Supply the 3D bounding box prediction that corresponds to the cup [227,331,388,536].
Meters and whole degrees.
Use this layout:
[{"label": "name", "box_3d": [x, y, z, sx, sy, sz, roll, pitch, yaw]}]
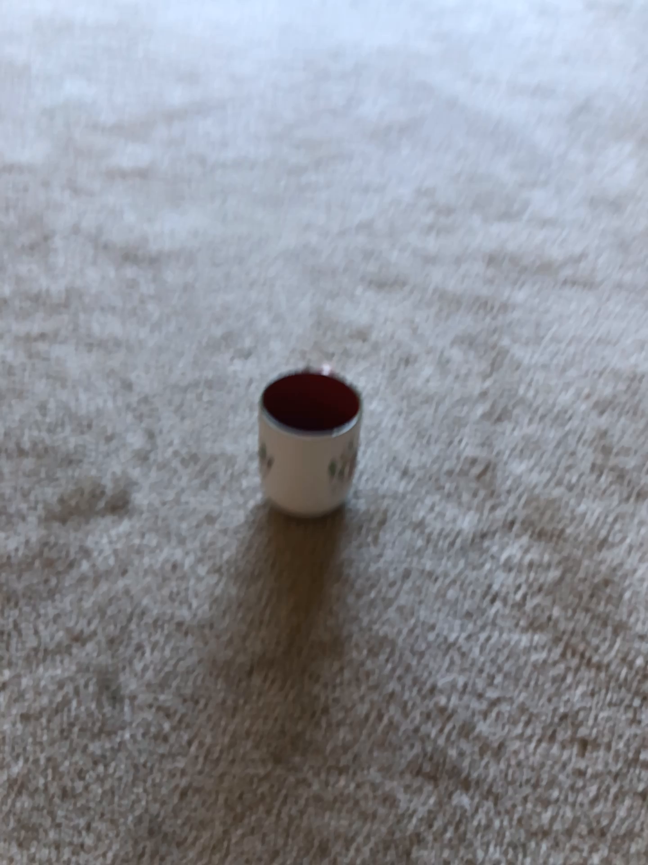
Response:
[{"label": "cup", "box_3d": [-0.010, -0.003, 0.630, 0.100, 0.090, 0.141, 11, 45, 9]}]
